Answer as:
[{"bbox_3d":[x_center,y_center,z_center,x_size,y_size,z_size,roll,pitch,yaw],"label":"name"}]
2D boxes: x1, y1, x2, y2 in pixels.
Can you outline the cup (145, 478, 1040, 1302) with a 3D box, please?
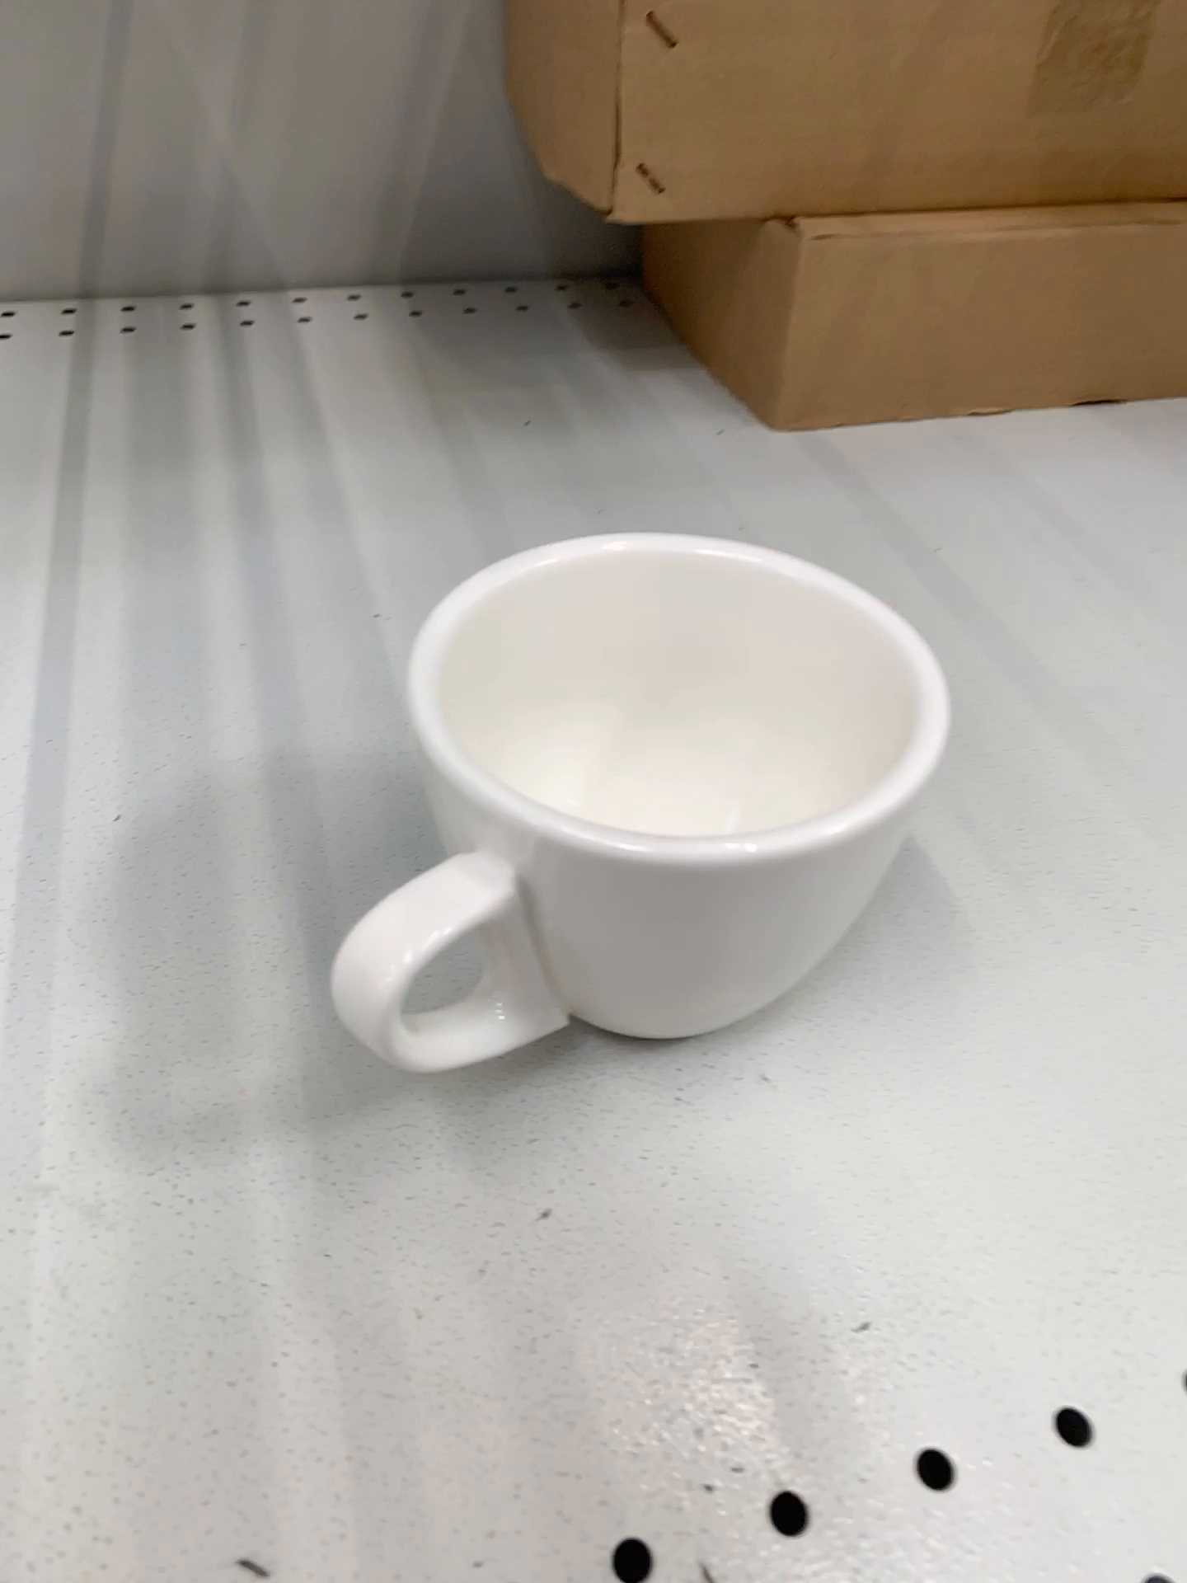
[{"bbox_3d":[0.001,0.007,0.241,0.128,0.072,0.096,-30,50,-33],"label":"cup"}]
